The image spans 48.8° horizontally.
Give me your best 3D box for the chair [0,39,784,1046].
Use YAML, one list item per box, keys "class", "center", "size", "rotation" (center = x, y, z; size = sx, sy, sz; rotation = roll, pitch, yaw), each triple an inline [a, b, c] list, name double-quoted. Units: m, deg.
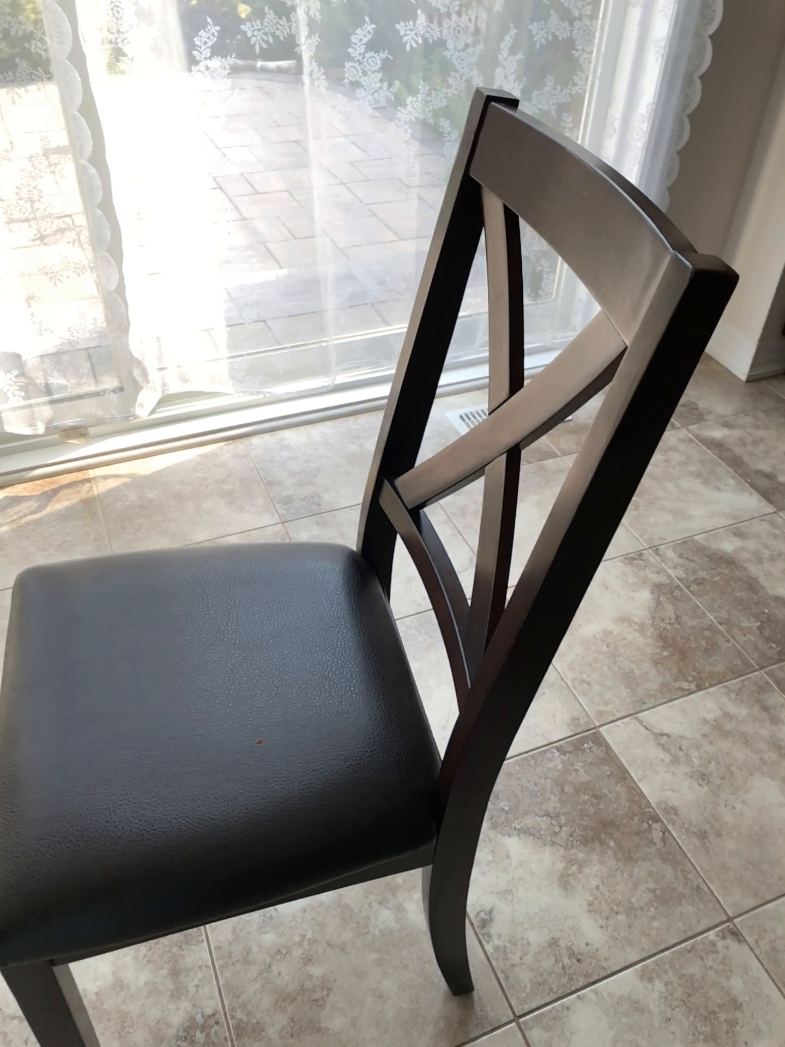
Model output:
- class: "chair"
  center: [-0.114, 0.114, 0.842]
  size: [0.600, 0.936, 0.482]
  rotation: [-7, 41, -11]
